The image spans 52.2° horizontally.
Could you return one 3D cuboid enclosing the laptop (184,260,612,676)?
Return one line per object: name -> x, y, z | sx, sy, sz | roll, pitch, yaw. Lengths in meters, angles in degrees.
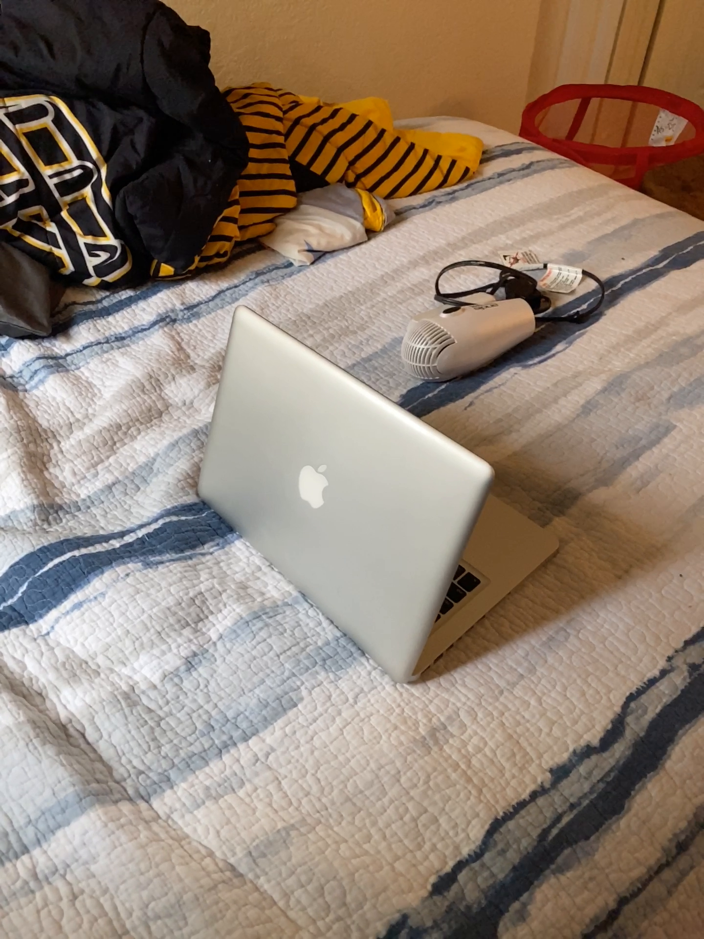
laptop -> 0.029, -0.019, 0.681 | 0.215, 0.188, 0.301 | -32, 53, -28
